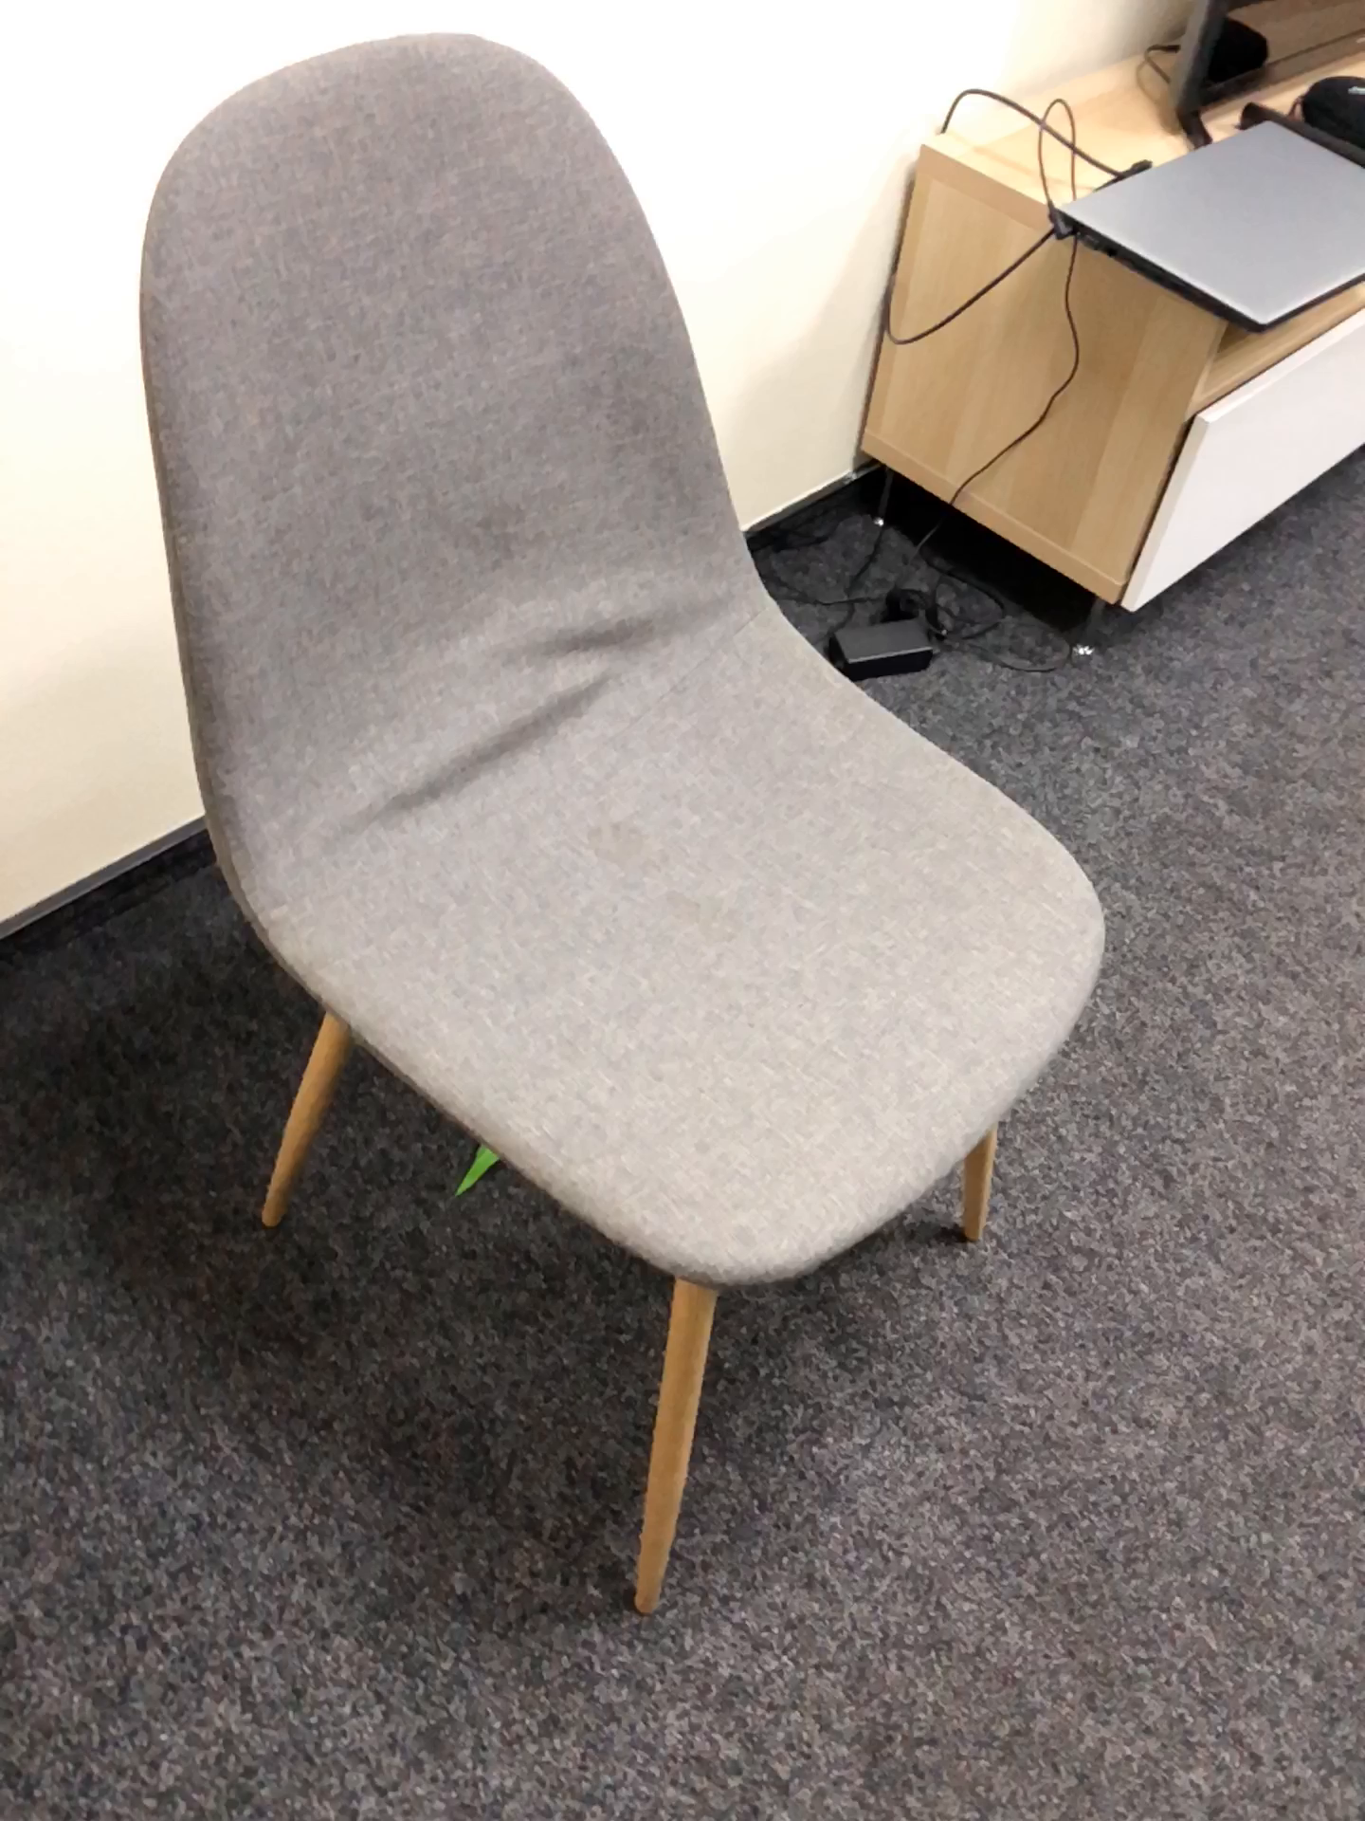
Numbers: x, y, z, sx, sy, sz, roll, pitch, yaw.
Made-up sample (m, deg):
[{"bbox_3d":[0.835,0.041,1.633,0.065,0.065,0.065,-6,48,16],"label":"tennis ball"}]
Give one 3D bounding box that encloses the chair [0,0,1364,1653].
[{"bbox_3d":[-0.062,-0.033,0.961,0.601,0.785,0.472,37,56,23],"label":"chair"}]
